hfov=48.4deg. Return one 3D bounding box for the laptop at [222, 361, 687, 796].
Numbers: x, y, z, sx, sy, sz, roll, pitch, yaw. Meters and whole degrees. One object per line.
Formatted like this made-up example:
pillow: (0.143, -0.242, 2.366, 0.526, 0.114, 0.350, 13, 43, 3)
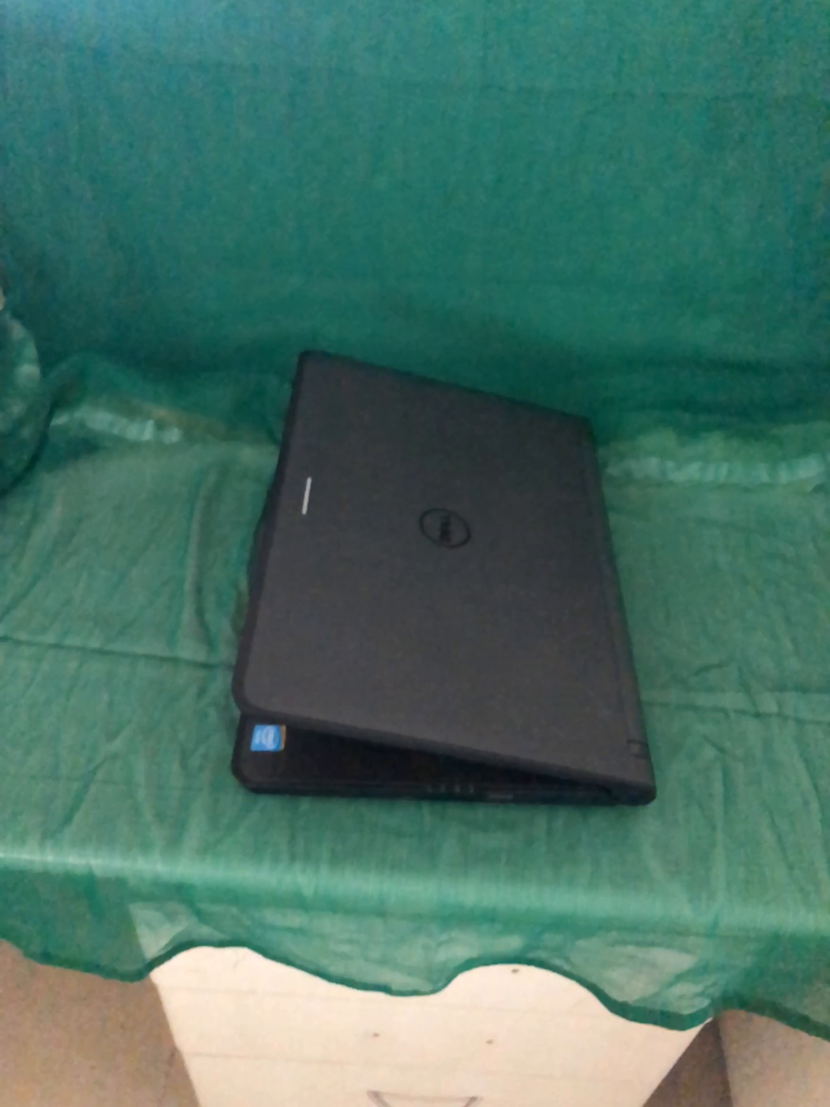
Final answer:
laptop: (0.021, -0.004, 0.585, 0.229, 0.064, 0.307, 3, 45, -1)
